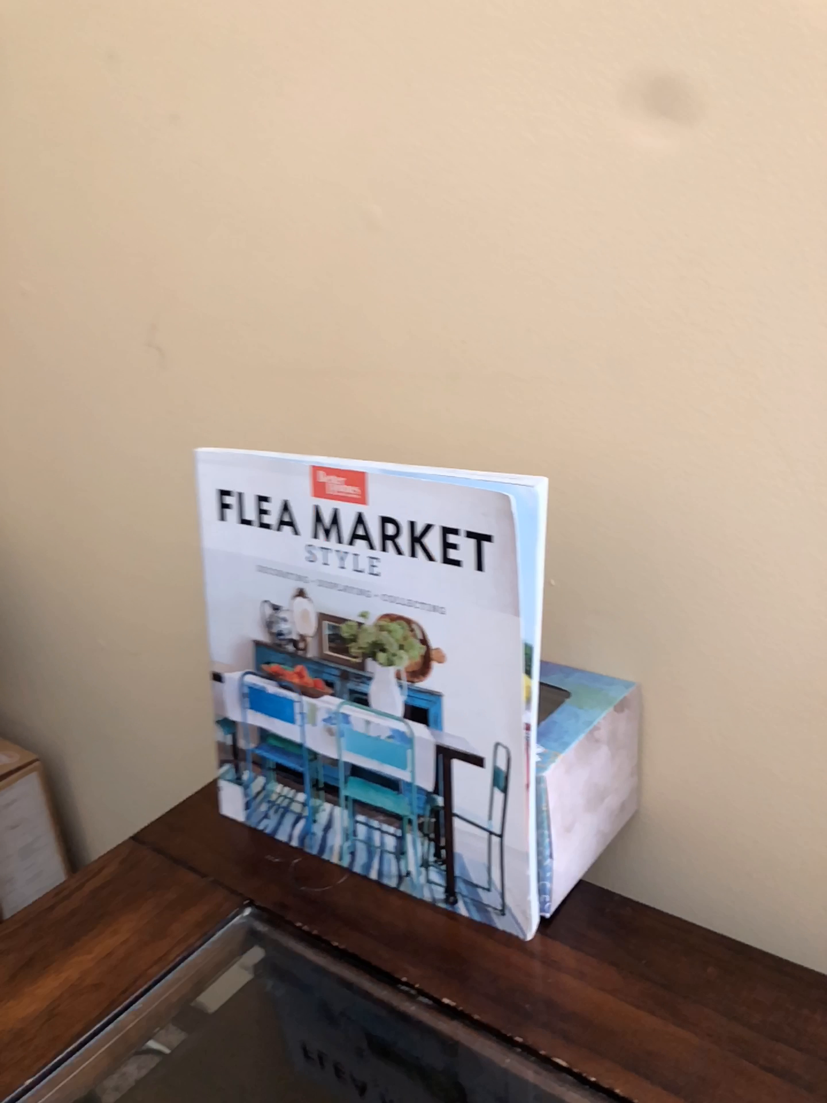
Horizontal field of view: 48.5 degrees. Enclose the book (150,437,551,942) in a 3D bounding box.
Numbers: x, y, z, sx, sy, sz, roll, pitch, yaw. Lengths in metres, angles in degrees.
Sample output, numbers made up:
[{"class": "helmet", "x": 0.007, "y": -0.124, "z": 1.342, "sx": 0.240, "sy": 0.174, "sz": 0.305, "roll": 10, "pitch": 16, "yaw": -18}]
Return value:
[{"class": "book", "x": -0.038, "y": 0.064, "z": 0.507, "sx": 0.233, "sy": 0.239, "sz": 0.032, "roll": 8, "pitch": 21, "yaw": 34}]
